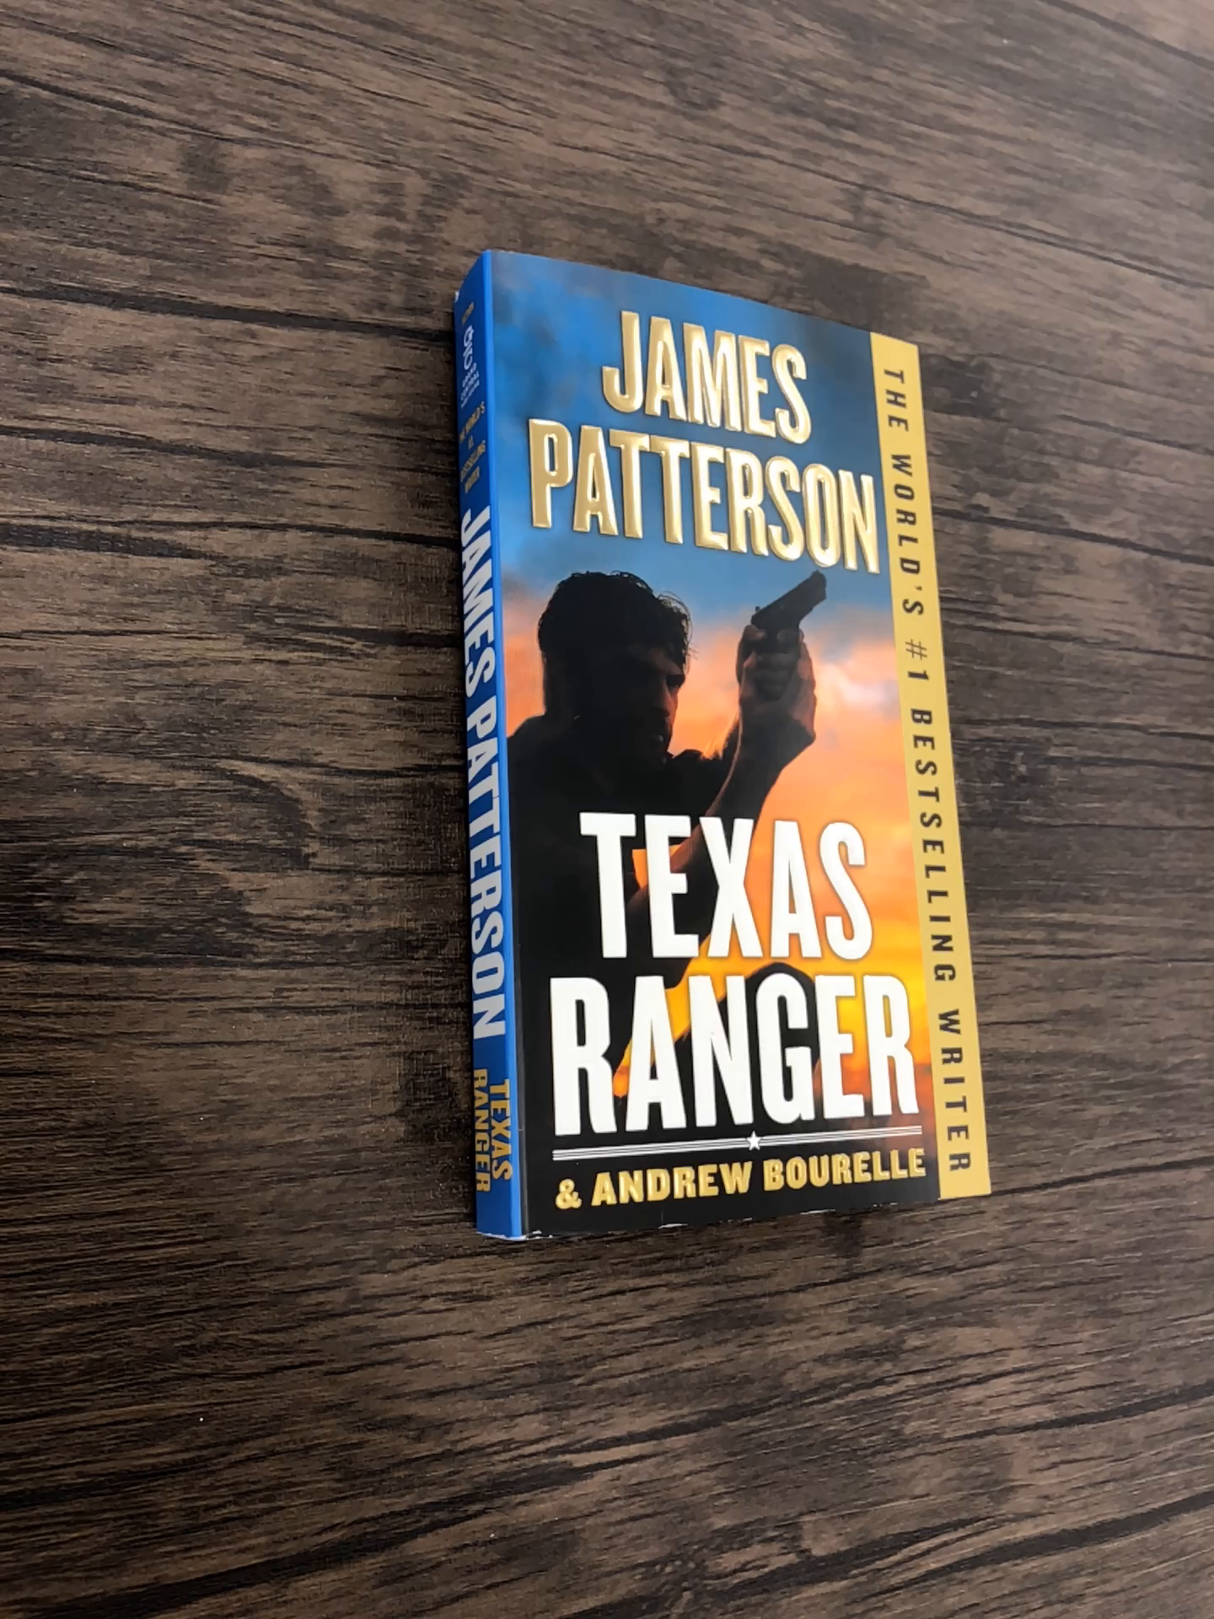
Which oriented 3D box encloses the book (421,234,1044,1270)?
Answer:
[{"bbox_3d":[0.023,-0.010,0.271,0.107,0.040,0.180,3,77,-27],"label":"book"}]
